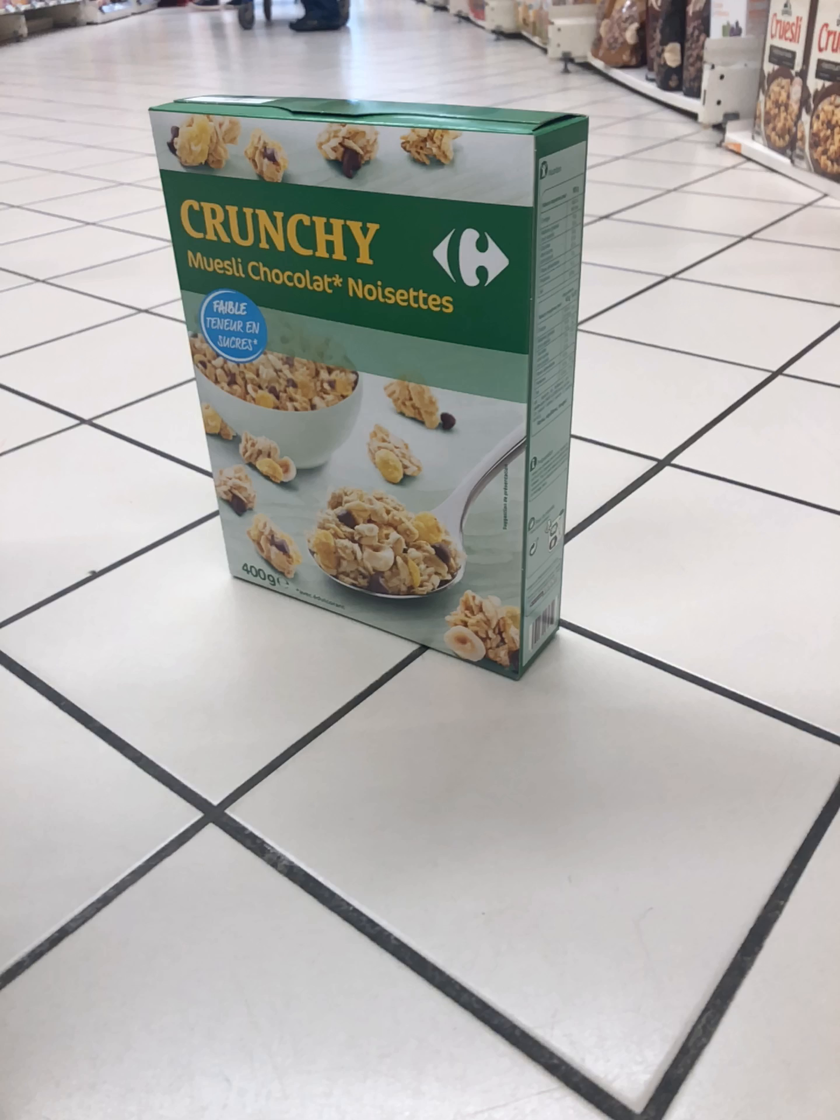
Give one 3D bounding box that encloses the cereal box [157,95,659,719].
[{"bbox_3d":[-0.007,-0.073,0.432,0.200,0.249,0.060,18,37,29],"label":"cereal box"}]
